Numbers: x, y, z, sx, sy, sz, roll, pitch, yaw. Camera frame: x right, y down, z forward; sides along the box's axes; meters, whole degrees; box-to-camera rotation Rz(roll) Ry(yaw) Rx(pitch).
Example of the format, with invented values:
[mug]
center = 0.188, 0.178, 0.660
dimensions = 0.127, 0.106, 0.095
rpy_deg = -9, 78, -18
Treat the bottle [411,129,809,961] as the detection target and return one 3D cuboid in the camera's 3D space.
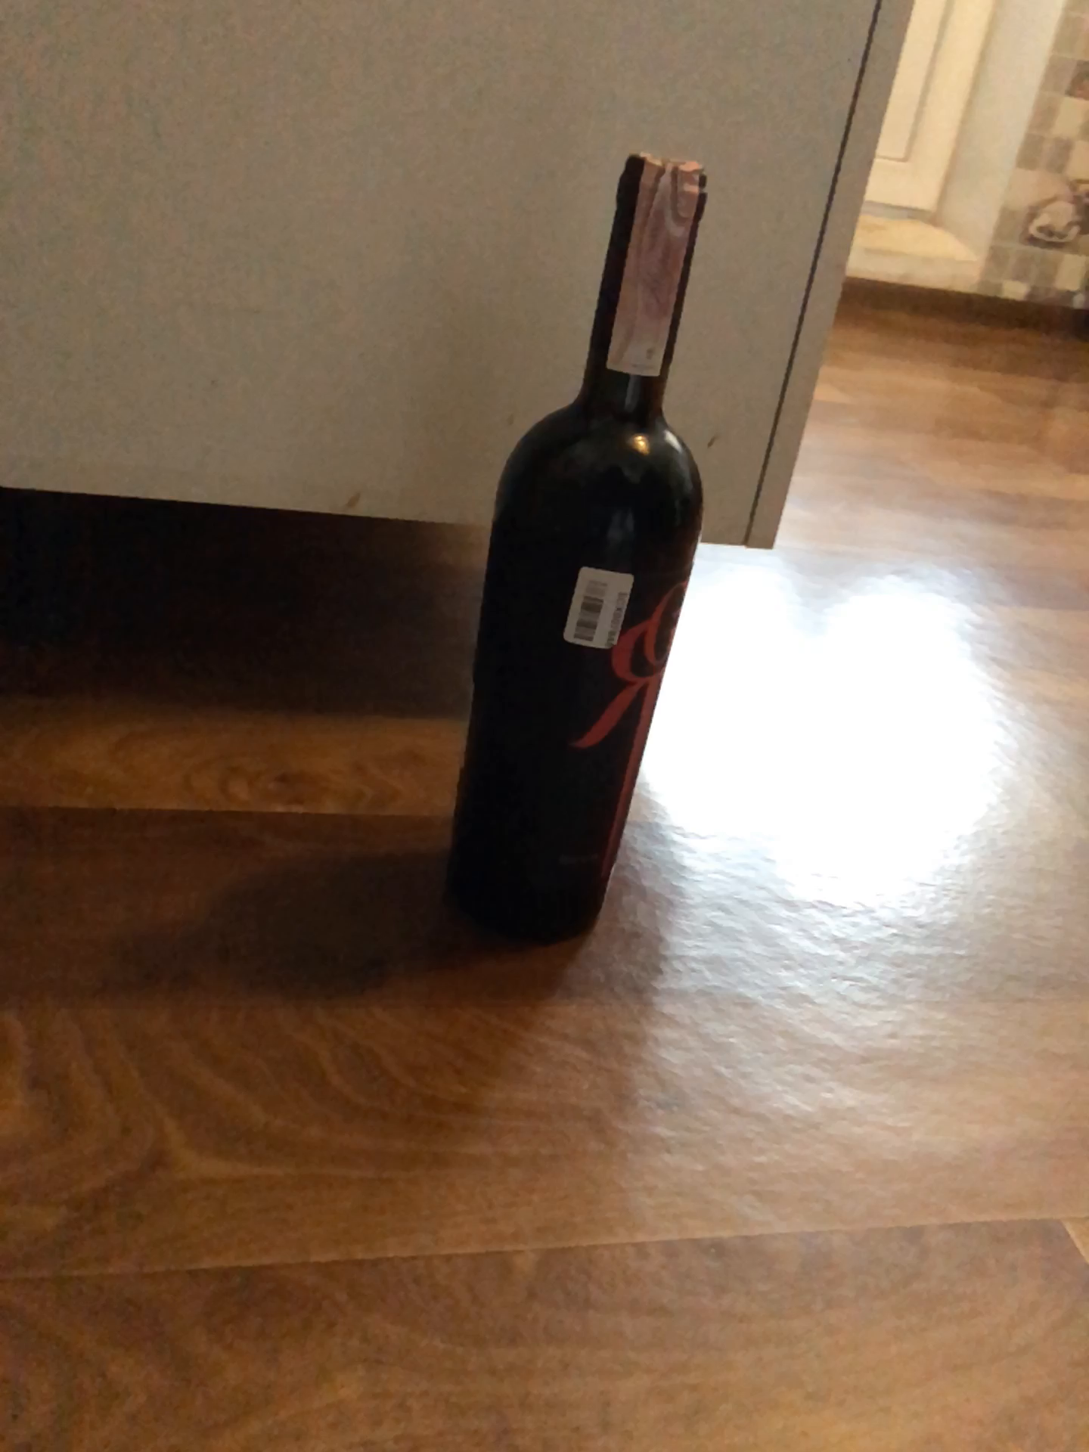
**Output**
[bottle]
center = 0.009, -0.057, 0.462
dimensions = 0.090, 0.297, 0.091
rpy_deg = 8, 28, -4
